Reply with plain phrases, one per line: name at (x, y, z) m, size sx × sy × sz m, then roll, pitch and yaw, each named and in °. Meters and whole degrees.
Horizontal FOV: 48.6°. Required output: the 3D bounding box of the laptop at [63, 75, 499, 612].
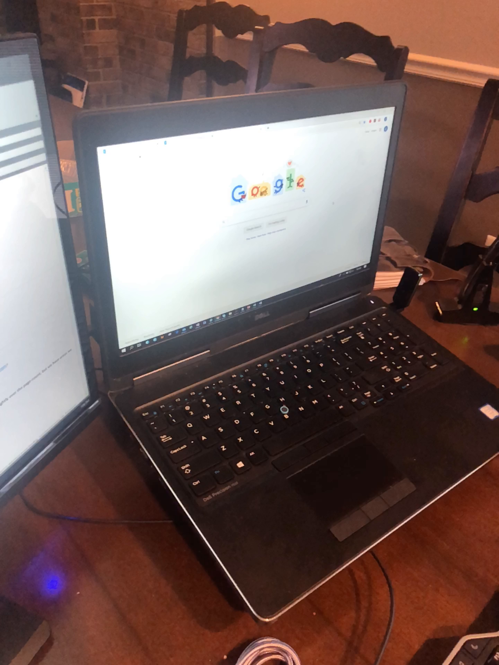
laptop at (0.084, -0.043, 0.501) m, size 0.368 × 0.258 × 0.287 m, roll -20°, pitch 44°, yaw -32°
